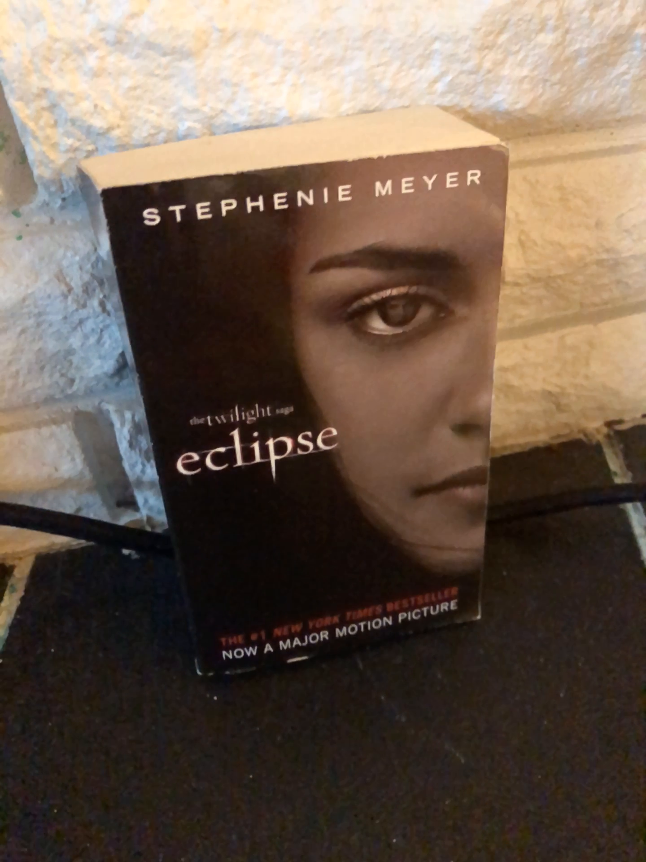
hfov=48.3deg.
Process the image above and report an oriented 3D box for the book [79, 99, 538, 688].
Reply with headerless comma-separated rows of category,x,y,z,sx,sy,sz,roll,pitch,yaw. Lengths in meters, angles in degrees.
book,0.001,0.000,0.233,0.106,0.181,0.042,-9,36,-5
